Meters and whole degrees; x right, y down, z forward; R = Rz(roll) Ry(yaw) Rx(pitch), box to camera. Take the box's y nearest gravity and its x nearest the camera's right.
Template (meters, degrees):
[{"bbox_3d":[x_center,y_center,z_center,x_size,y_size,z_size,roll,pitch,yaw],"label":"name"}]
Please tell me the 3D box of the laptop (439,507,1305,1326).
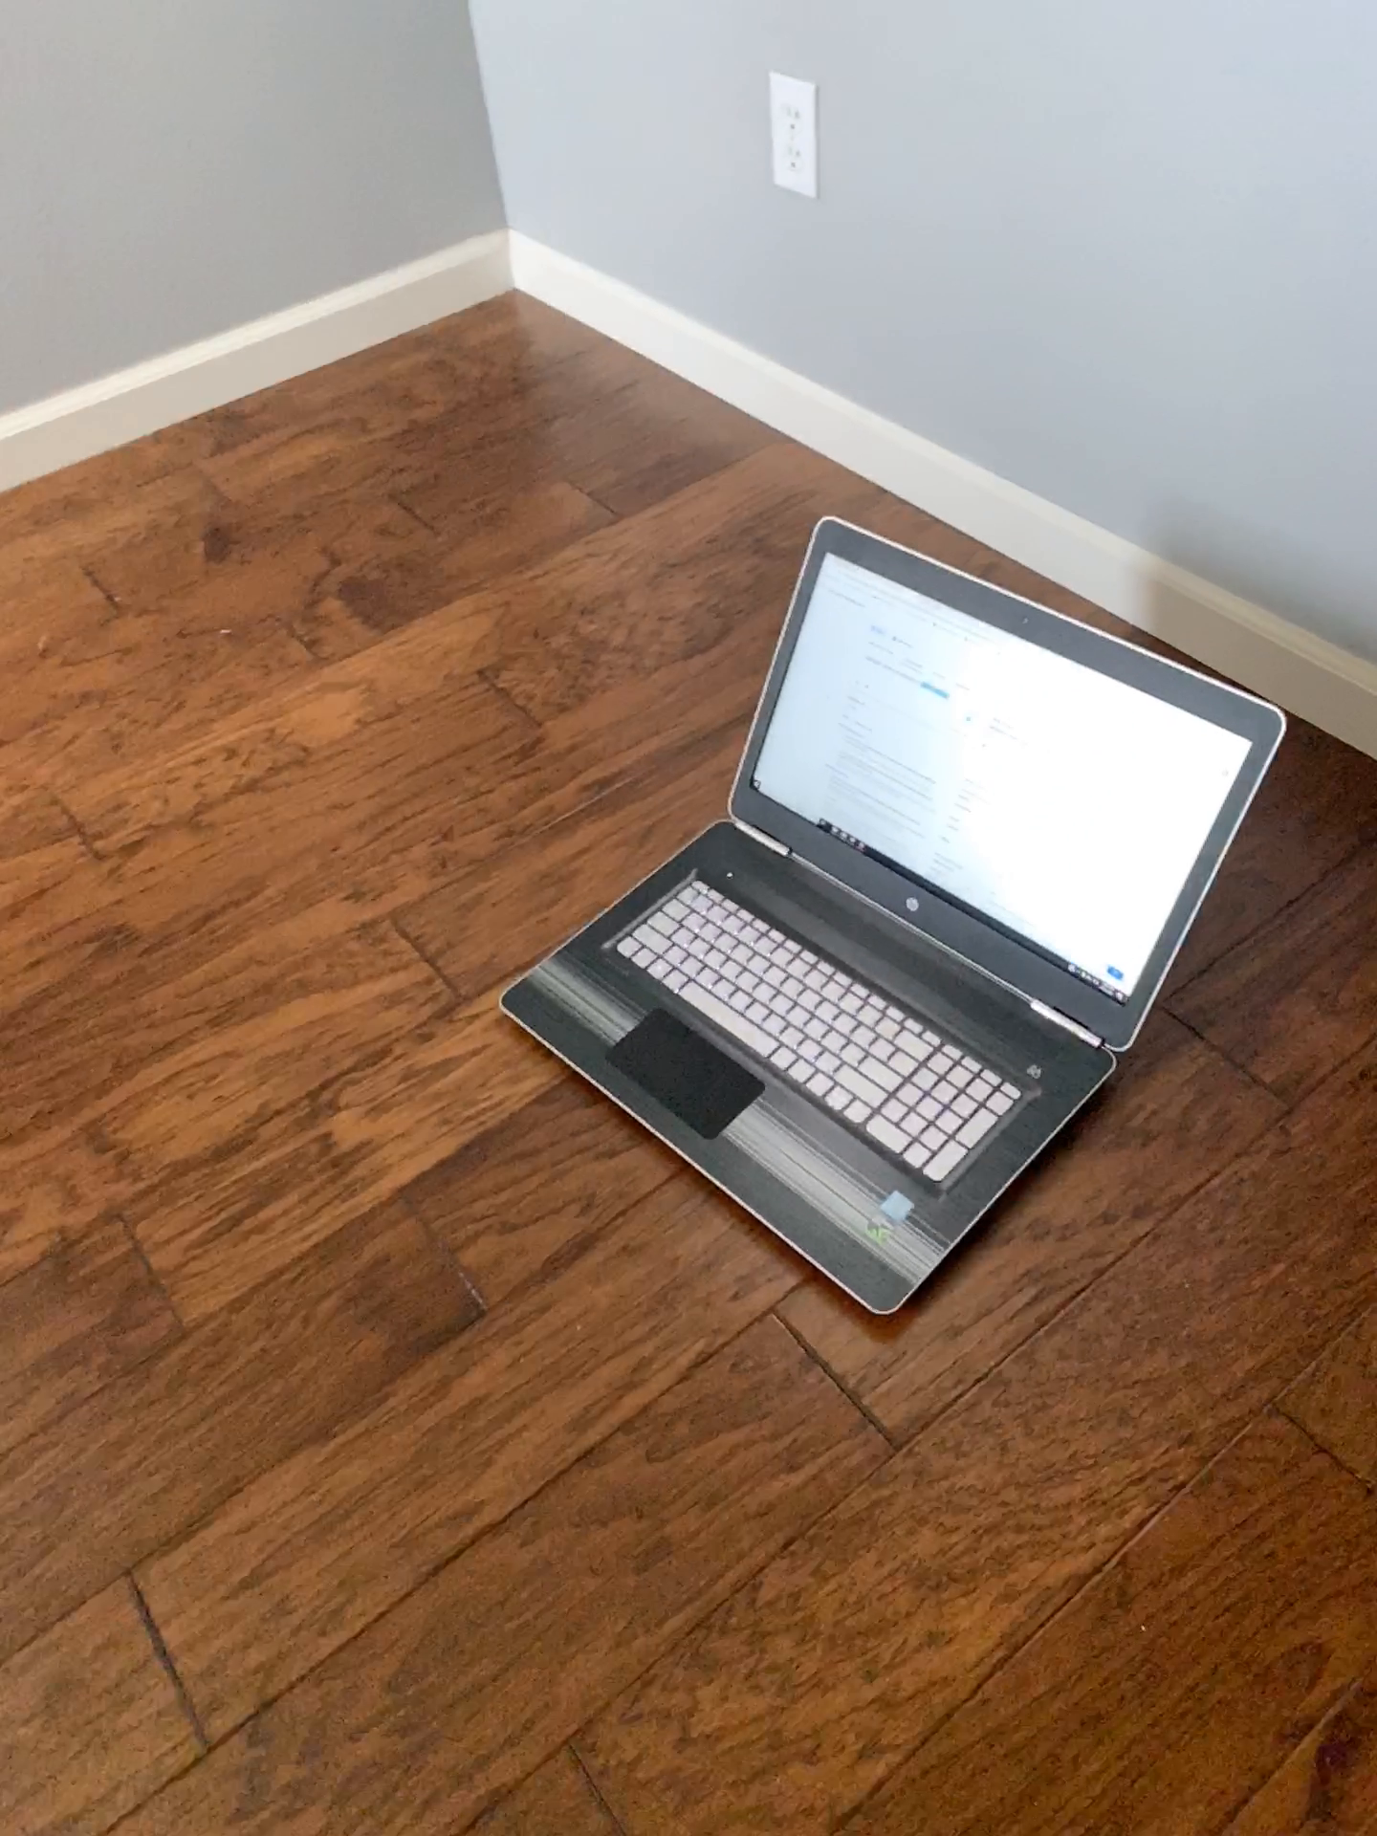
[{"bbox_3d":[0.127,-0.034,1.033,0.412,0.233,0.423,34,60,31],"label":"laptop"}]
